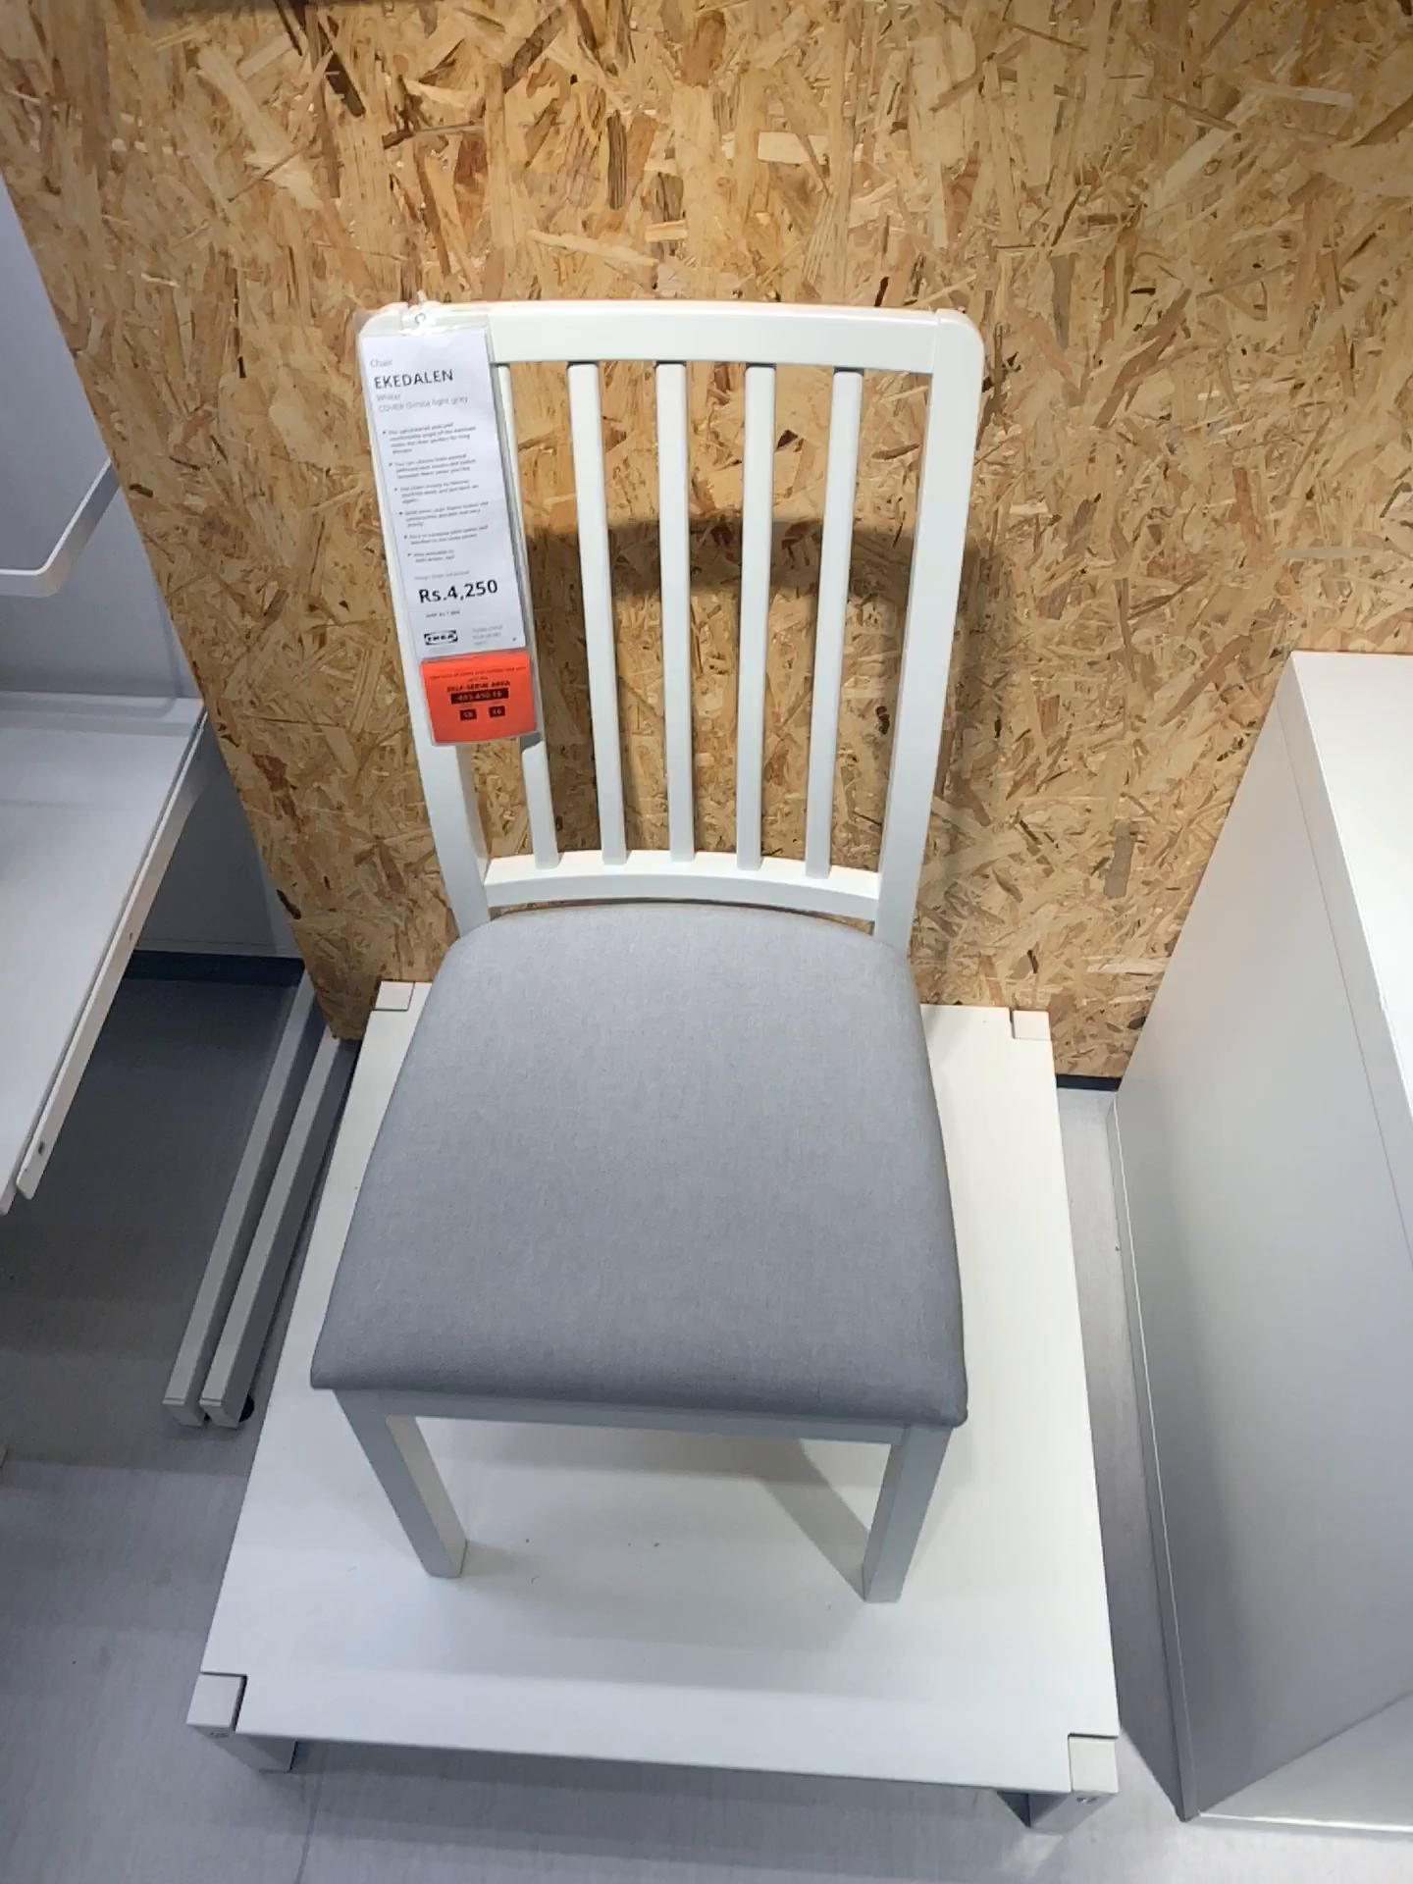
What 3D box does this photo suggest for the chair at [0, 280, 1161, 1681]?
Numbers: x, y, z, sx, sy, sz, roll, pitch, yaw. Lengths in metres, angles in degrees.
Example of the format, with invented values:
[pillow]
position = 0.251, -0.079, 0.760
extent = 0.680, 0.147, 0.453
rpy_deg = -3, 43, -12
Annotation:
[chair]
position = -0.045, 0.115, 0.981
extent = 0.430, 0.887, 0.512
rpy_deg = 3, 52, 3
